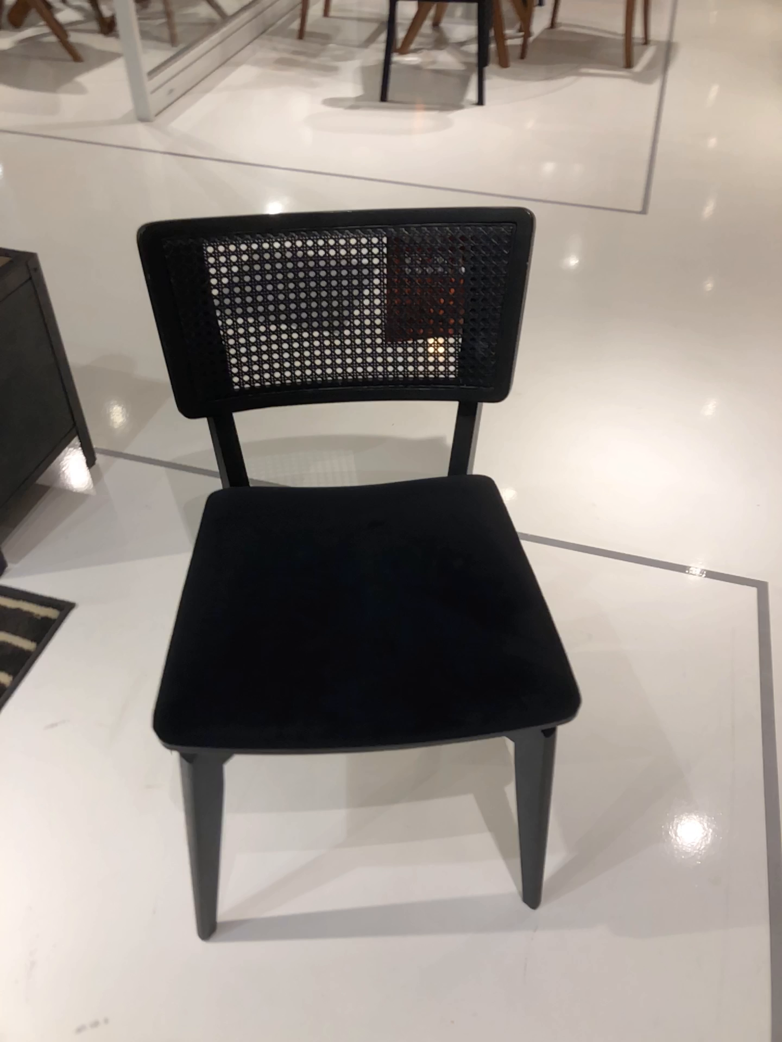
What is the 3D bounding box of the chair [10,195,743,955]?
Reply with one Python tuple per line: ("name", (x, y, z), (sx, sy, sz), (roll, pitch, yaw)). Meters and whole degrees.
("chair", (-0.033, 0.085, 1.073), (0.530, 0.744, 0.554), (-4, 44, -5))
